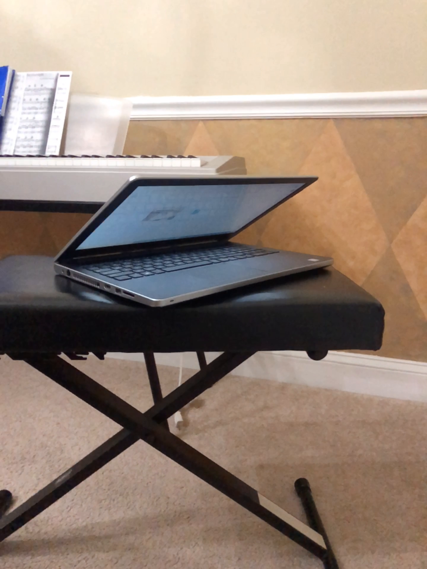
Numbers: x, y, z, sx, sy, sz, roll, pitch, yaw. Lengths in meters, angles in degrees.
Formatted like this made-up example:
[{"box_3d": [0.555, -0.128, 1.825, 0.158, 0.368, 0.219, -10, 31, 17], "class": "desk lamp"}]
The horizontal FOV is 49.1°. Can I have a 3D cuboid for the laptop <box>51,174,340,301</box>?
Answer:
[{"box_3d": [-0.018, -0.103, 0.761, 0.376, 0.137, 0.262, -13, 20, -42], "class": "laptop"}]
